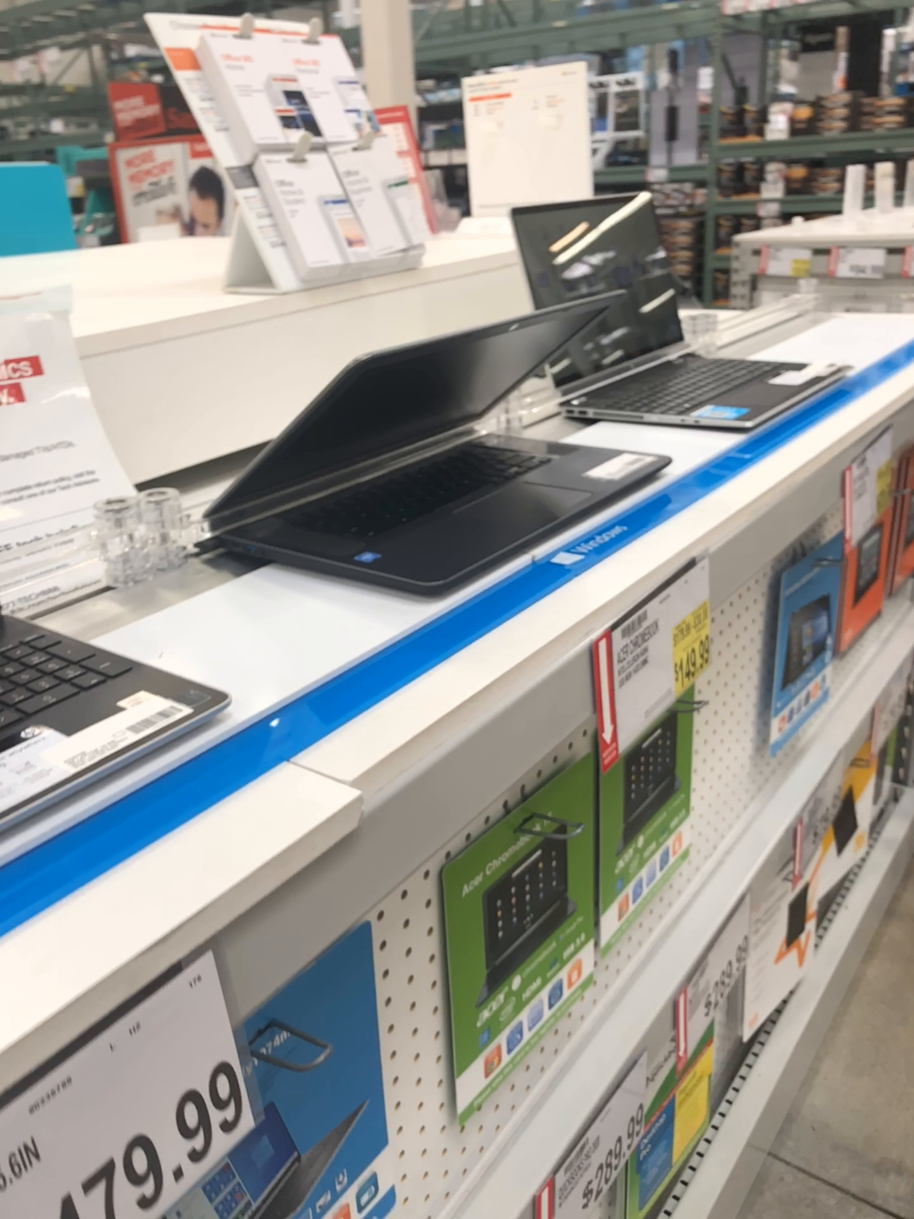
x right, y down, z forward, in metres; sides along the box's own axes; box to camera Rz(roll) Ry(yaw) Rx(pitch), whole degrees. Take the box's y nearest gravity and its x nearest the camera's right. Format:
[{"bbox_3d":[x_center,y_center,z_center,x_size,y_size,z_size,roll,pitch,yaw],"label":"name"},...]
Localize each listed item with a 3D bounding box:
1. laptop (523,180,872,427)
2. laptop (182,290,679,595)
[{"bbox_3d":[0.287,-0.381,1.209,0.291,0.208,0.318,16,32,38],"label":"laptop"},{"bbox_3d":[0.000,-0.163,0.830,0.219,0.136,0.365,15,30,34],"label":"laptop"}]
